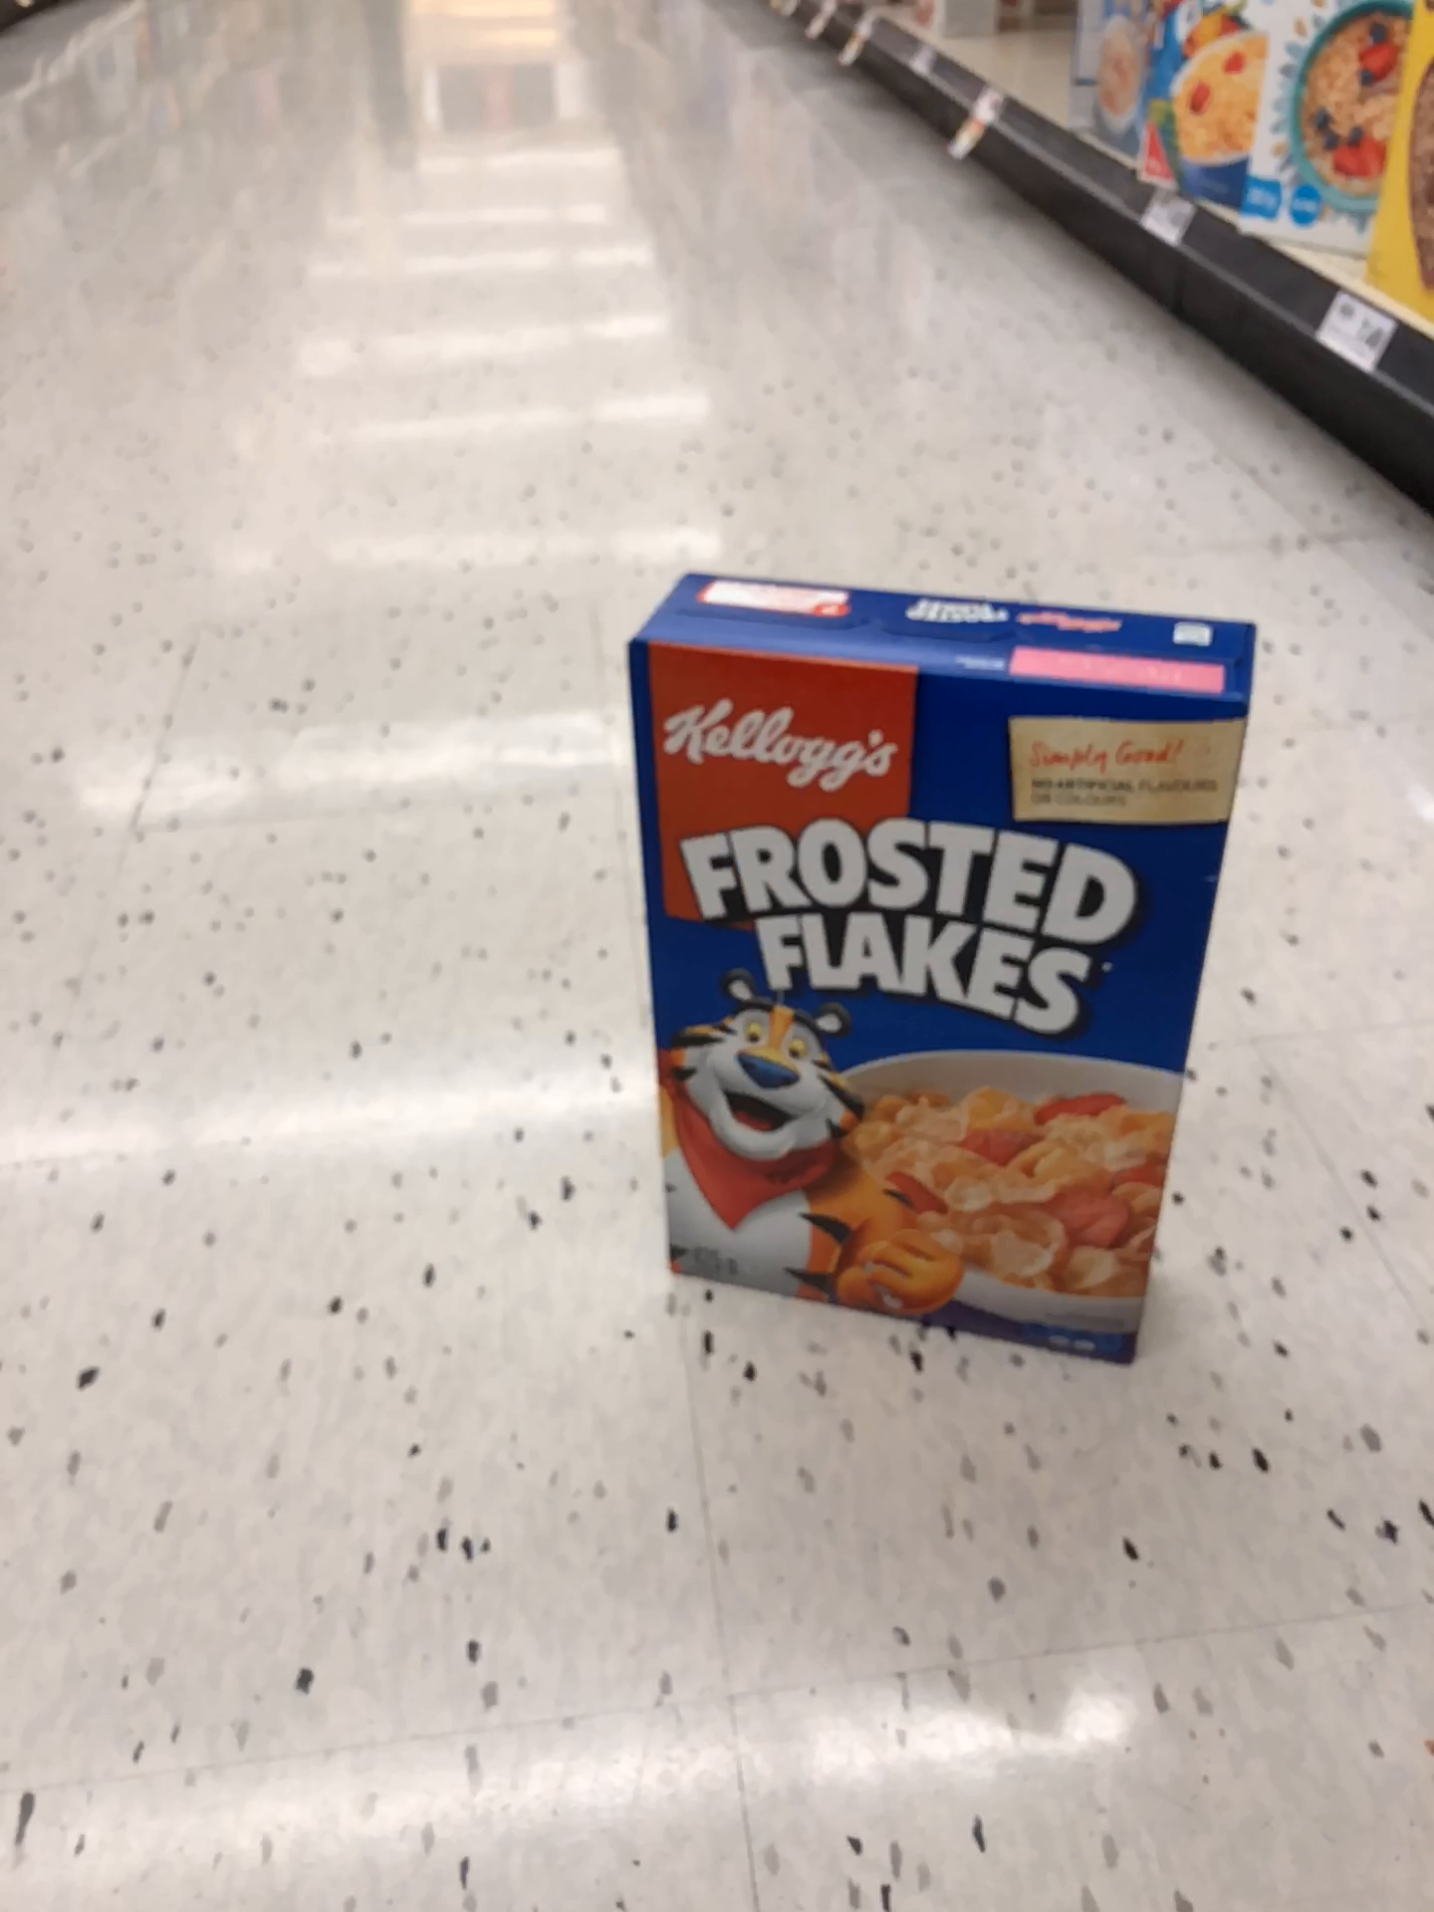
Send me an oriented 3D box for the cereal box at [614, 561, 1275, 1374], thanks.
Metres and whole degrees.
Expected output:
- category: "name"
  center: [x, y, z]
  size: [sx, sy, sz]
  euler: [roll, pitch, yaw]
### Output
- category: "cereal box"
  center: [0.077, 0.013, 0.594]
  size: [0.200, 0.288, 0.070]
  euler: [9, 37, 14]
